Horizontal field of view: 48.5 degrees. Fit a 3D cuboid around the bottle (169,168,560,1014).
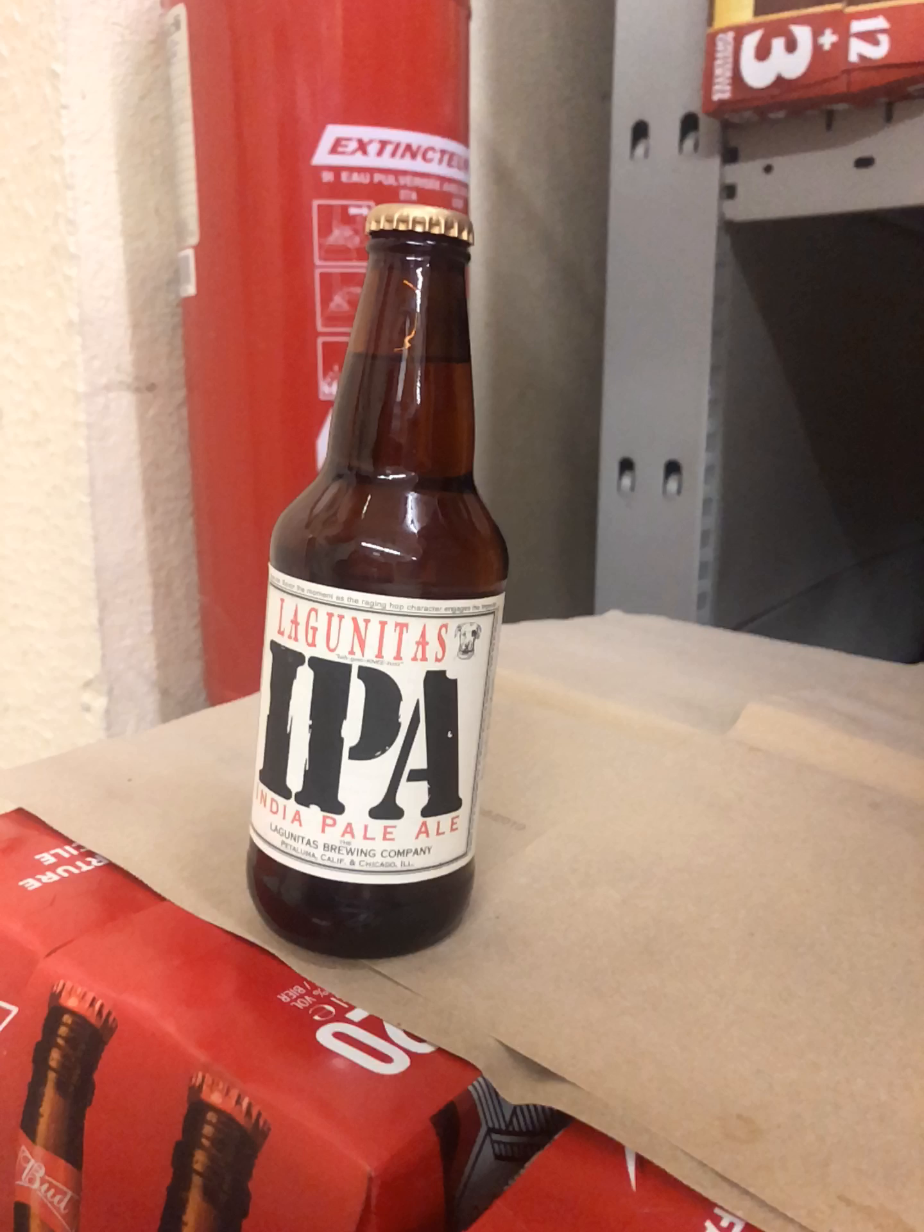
[{"bbox_3d":[-0.025,-0.008,0.284,0.080,0.199,0.080,4,14,-1],"label":"bottle"}]
